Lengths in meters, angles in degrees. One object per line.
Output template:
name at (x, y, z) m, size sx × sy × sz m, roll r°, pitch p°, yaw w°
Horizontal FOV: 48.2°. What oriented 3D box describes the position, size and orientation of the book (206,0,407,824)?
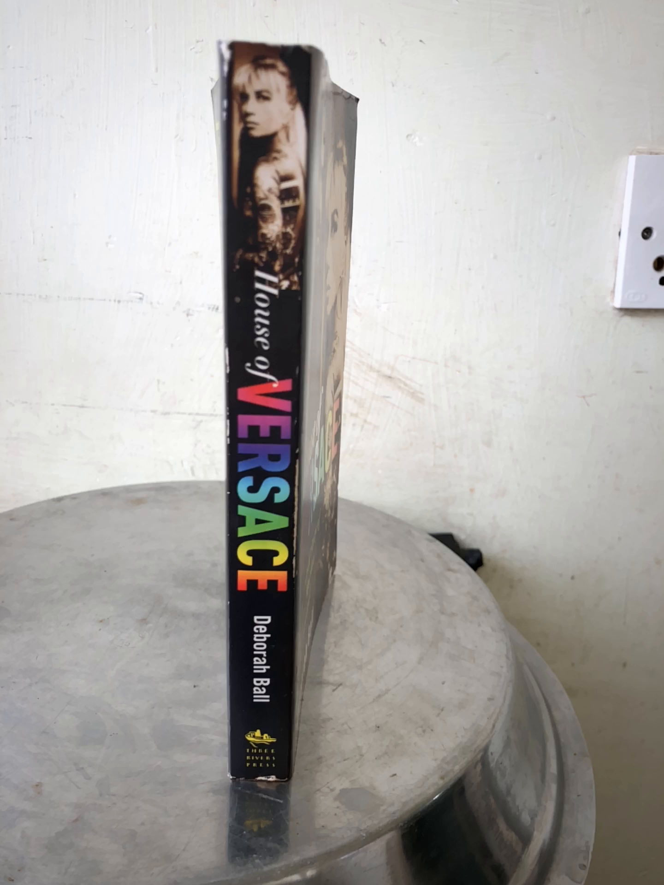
book at (-0.010, -0.020, 0.274) m, size 0.040 × 0.219 × 0.181 m, roll 3°, pitch 17°, yaw -1°
